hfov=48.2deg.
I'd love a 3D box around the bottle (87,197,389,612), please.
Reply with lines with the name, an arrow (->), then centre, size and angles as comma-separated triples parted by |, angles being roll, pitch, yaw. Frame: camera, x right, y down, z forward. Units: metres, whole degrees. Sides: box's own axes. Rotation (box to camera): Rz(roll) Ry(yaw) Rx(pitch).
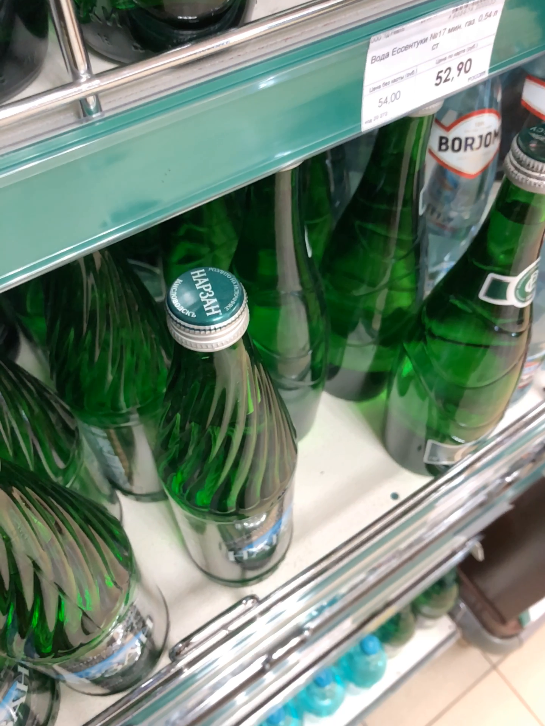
bottle -> -0.011, 0.045, 0.301 | 0.080, 0.240, 0.060 | -33, 61, -20
